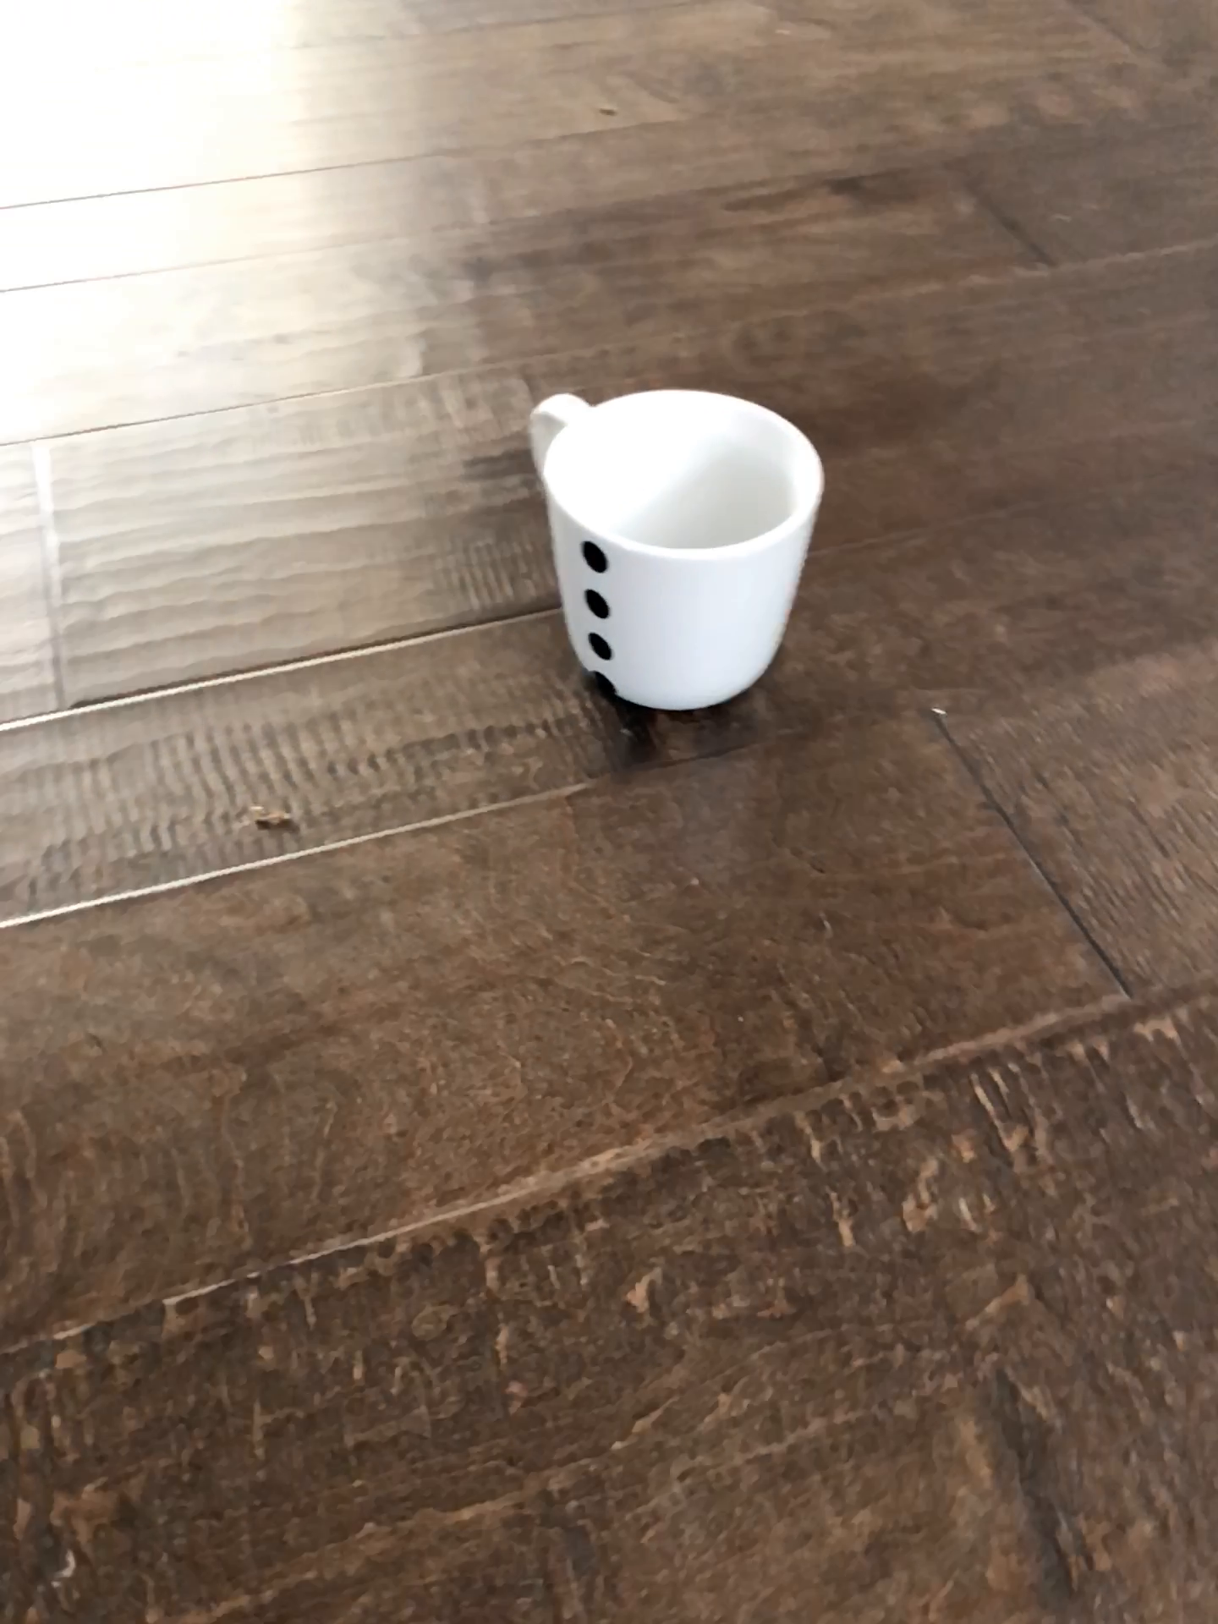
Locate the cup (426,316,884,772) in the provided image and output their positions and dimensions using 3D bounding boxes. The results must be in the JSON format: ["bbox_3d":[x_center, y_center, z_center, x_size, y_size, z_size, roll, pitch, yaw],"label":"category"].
[{"bbox_3d":[0.014,-0.092,0.448,0.110,0.079,0.091,34,56,25],"label":"cup"}]
